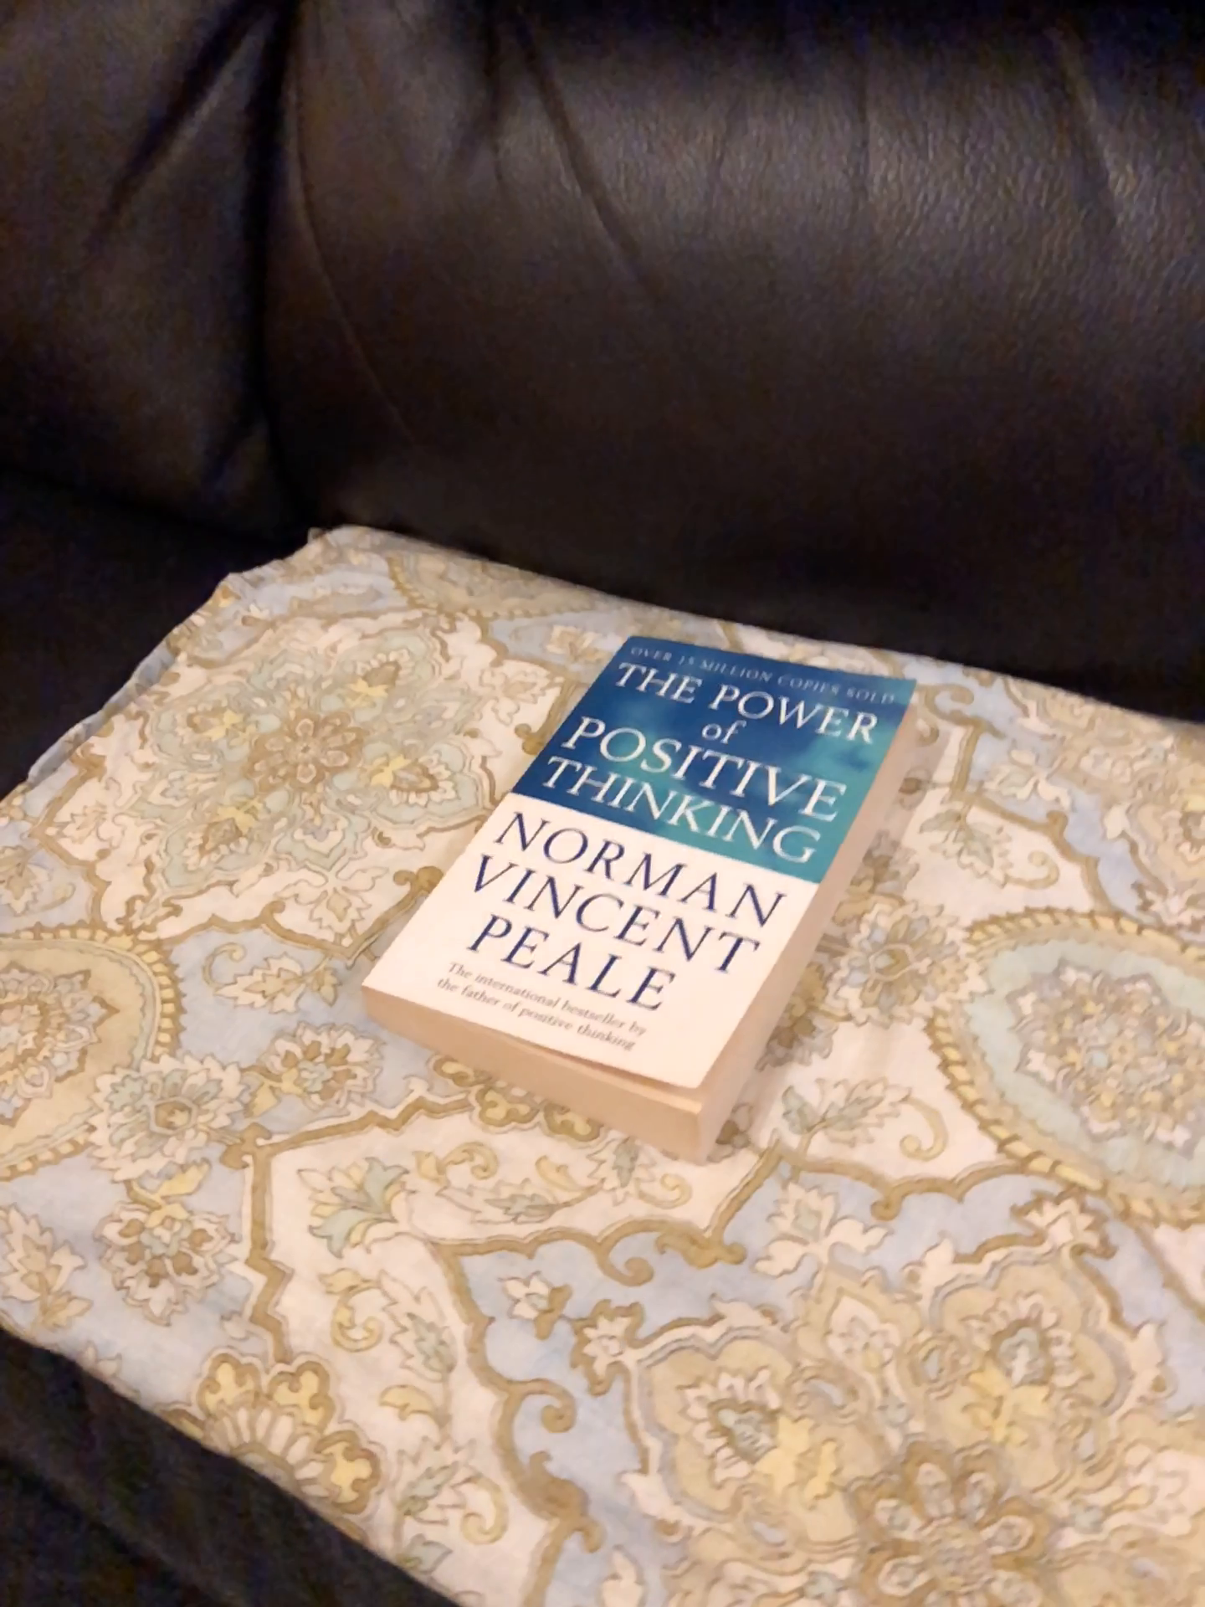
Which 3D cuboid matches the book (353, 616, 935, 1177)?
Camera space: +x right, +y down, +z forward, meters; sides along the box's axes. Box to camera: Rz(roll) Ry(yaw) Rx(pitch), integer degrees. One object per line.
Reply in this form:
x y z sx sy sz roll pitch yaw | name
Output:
0.022 0.016 0.436 0.120 0.030 0.183 15 51 24 | book
